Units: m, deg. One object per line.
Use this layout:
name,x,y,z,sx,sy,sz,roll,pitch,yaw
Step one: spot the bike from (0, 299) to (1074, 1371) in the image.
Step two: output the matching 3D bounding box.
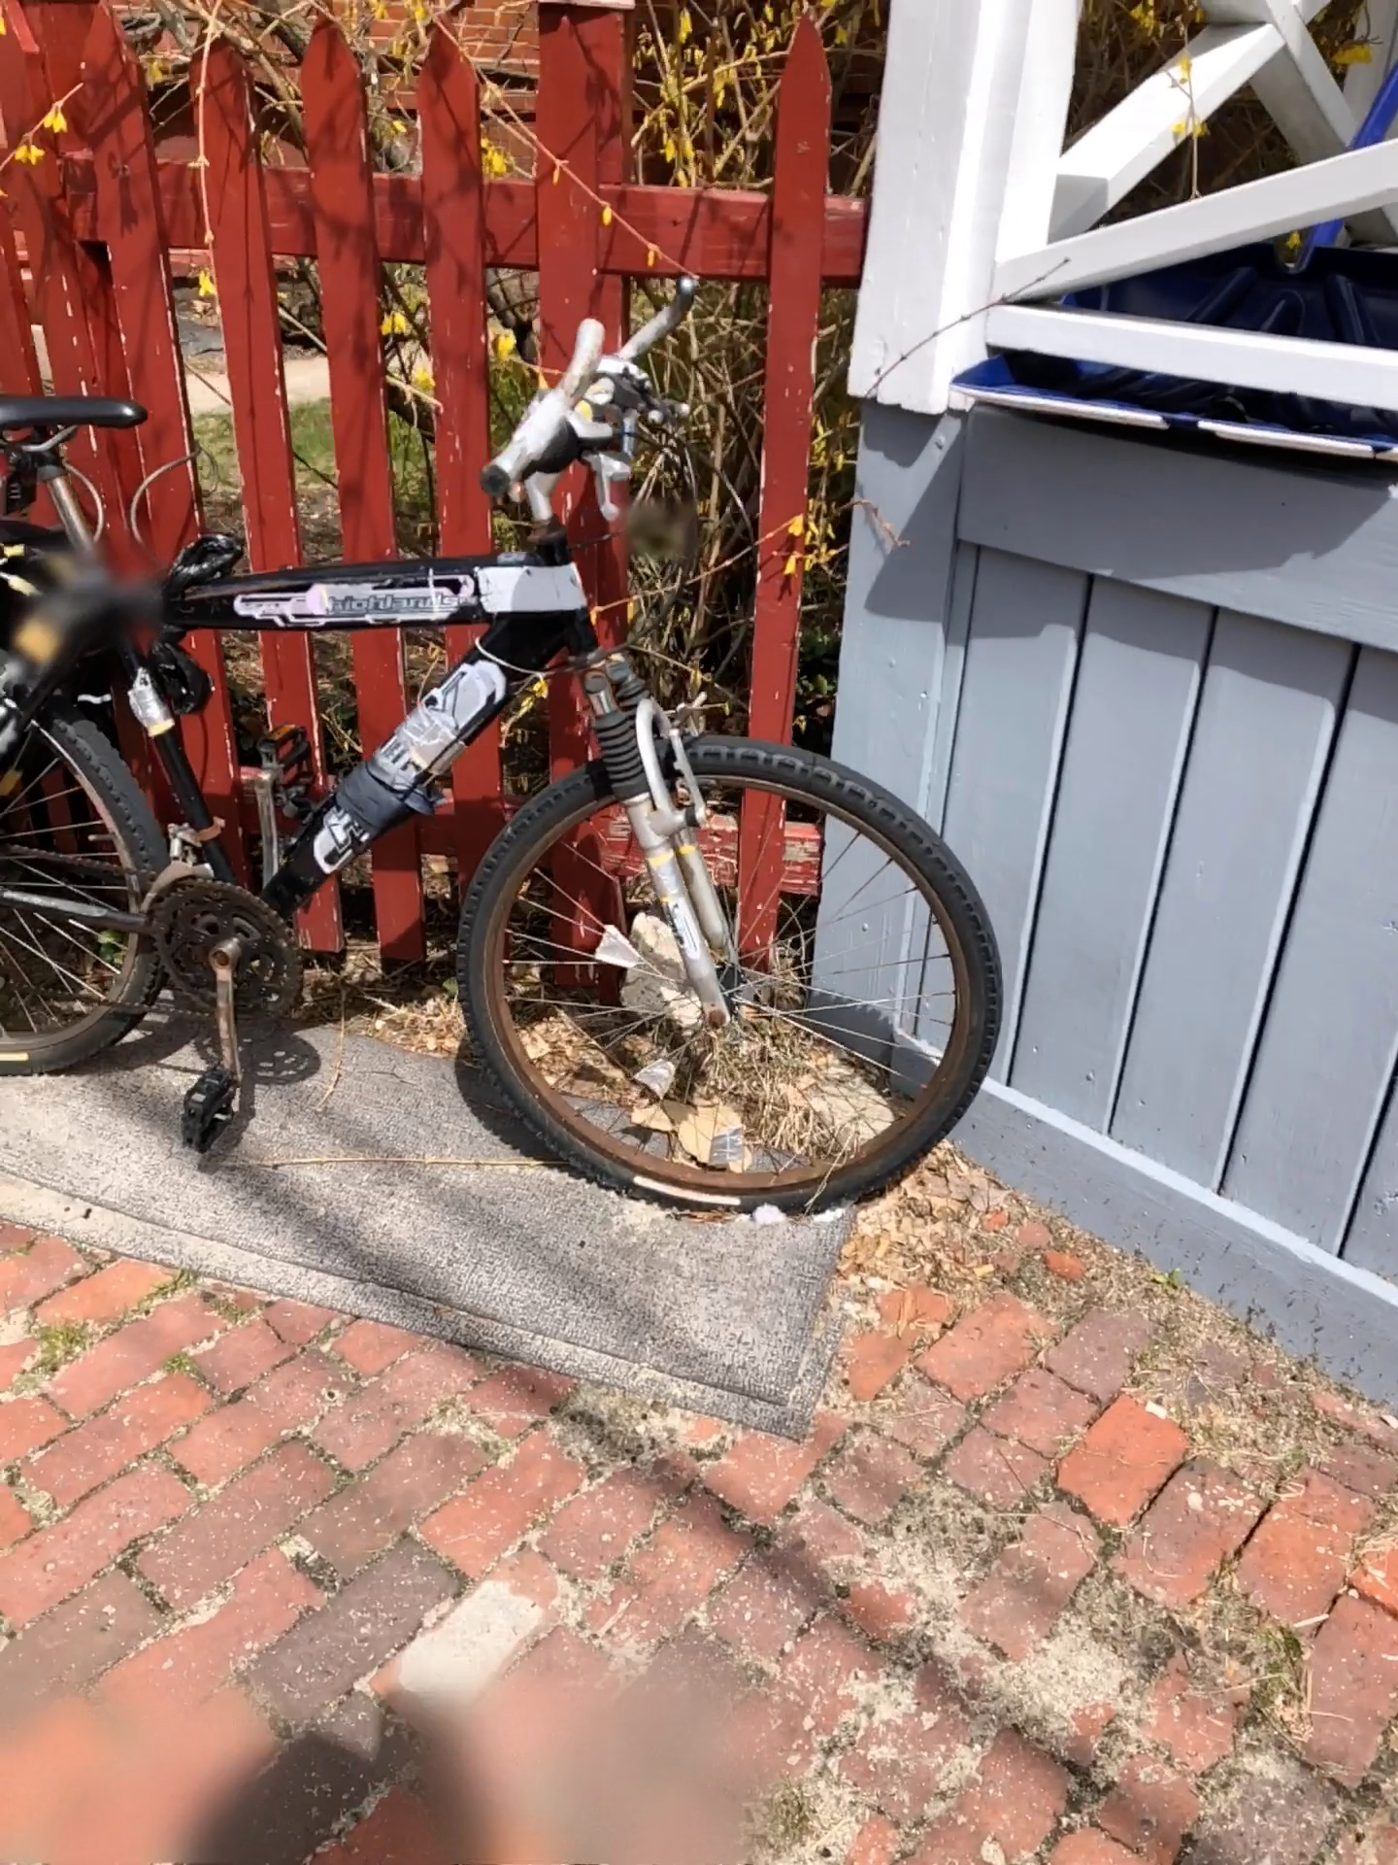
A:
bike,-0.491,-0.184,1.910,1.724,1.000,0.676,6,29,9
